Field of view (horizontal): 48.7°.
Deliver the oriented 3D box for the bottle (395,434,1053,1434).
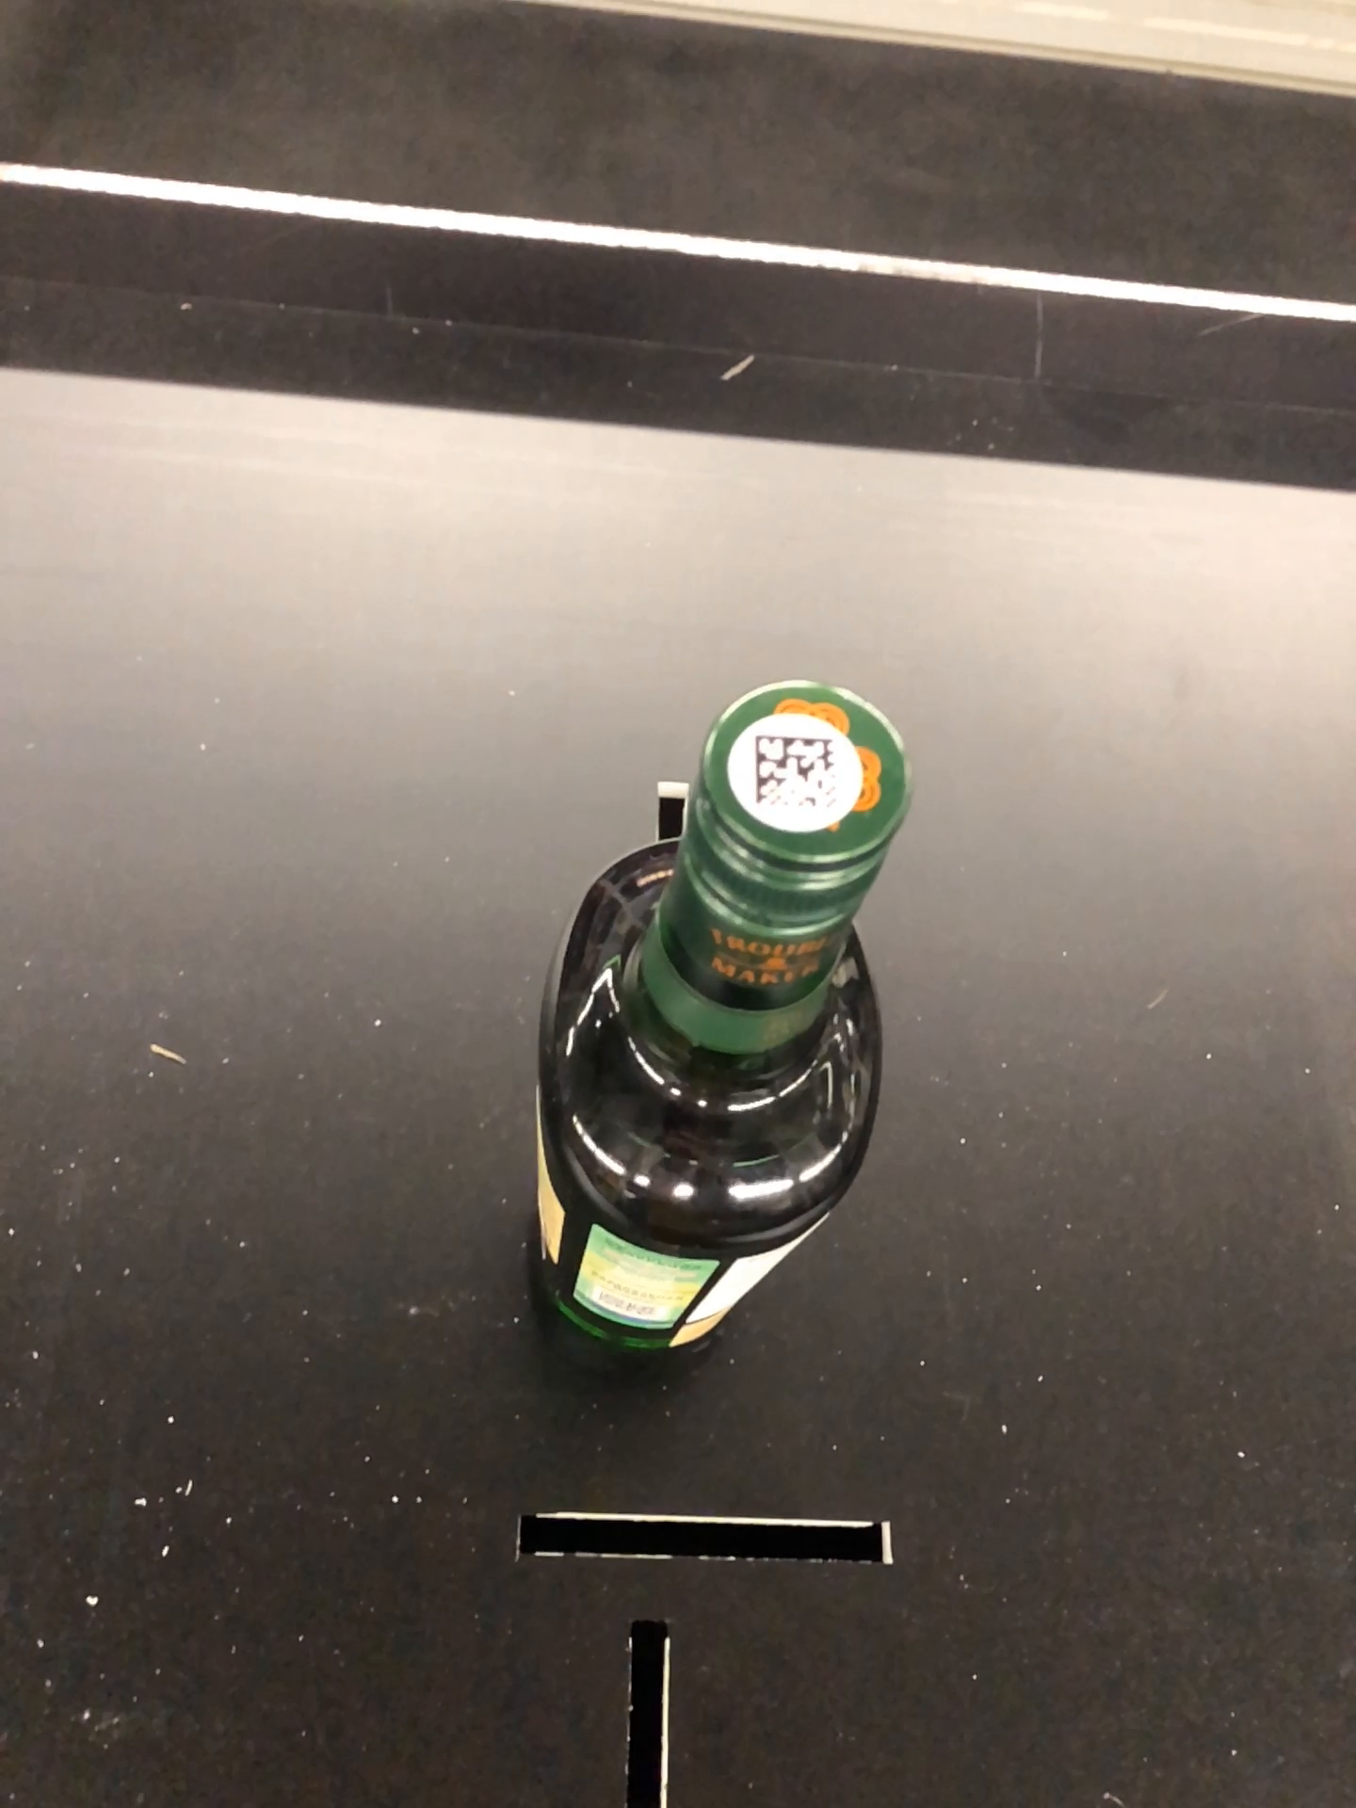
[{"bbox_3d":[-0.003,0.044,0.337,0.080,0.299,0.100,7,64,-2],"label":"bottle"}]
